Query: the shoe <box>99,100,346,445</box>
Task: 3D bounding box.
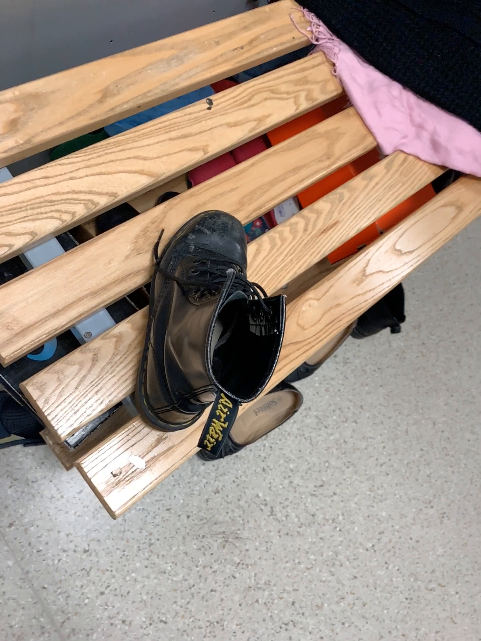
[{"bbox_3d":[-0.024,-0.026,0.473,0.106,0.199,0.261,22,68,-17],"label":"shoe"}]
